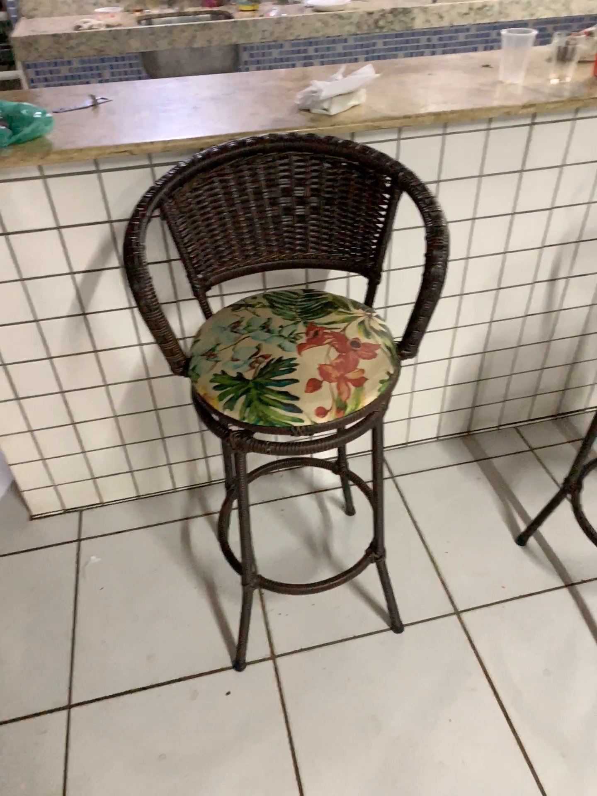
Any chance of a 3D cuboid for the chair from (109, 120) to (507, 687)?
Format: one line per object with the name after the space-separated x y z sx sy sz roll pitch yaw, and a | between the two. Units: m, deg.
-0.023 0.042 1.250 0.500 0.975 0.533 -10 40 -9 | chair
